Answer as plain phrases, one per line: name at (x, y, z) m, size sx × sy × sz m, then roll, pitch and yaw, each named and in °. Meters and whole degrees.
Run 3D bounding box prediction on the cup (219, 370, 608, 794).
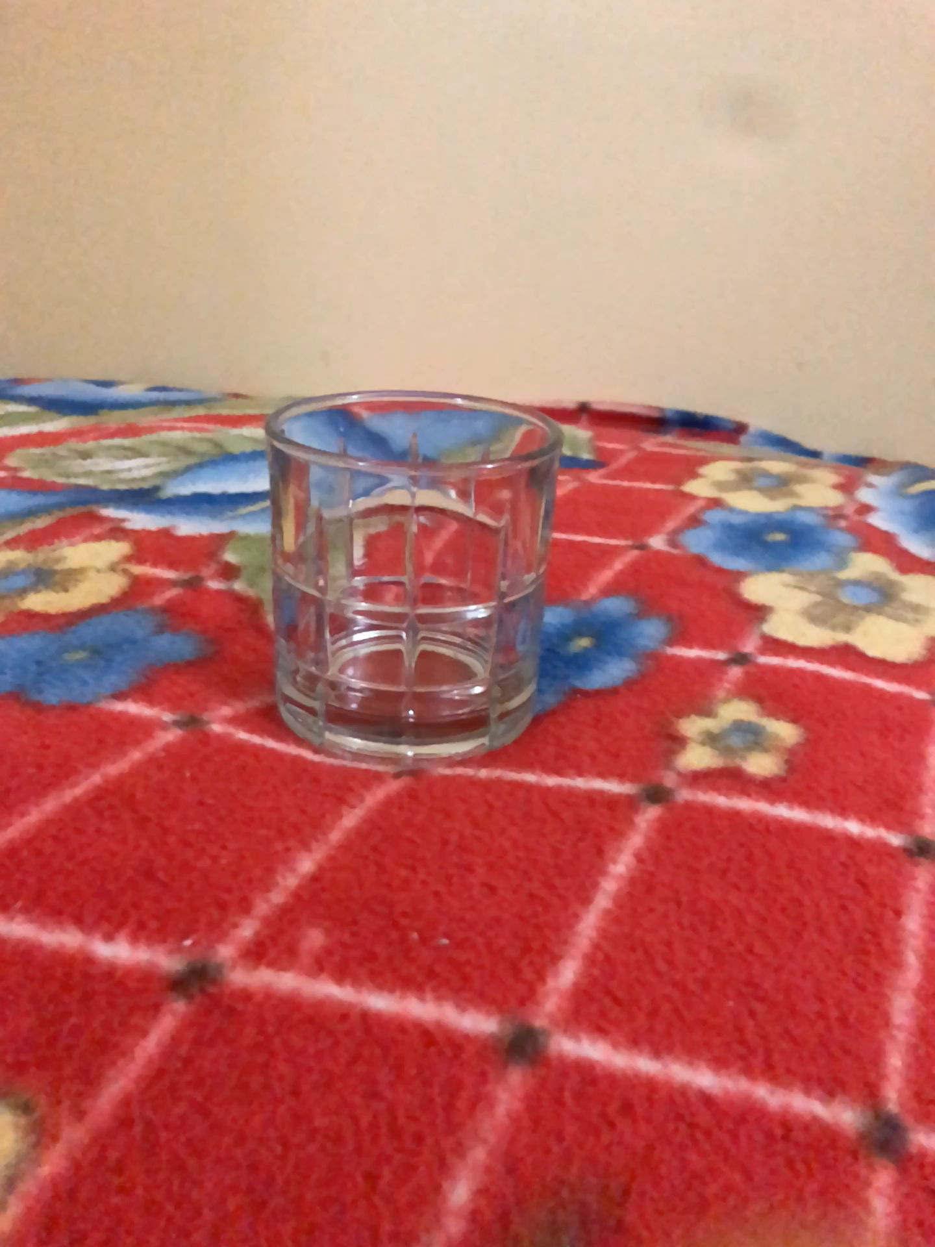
cup at (-0.010, -0.018, 0.294) m, size 0.084 × 0.088 × 0.084 m, roll 1°, pitch 23°, yaw -1°
